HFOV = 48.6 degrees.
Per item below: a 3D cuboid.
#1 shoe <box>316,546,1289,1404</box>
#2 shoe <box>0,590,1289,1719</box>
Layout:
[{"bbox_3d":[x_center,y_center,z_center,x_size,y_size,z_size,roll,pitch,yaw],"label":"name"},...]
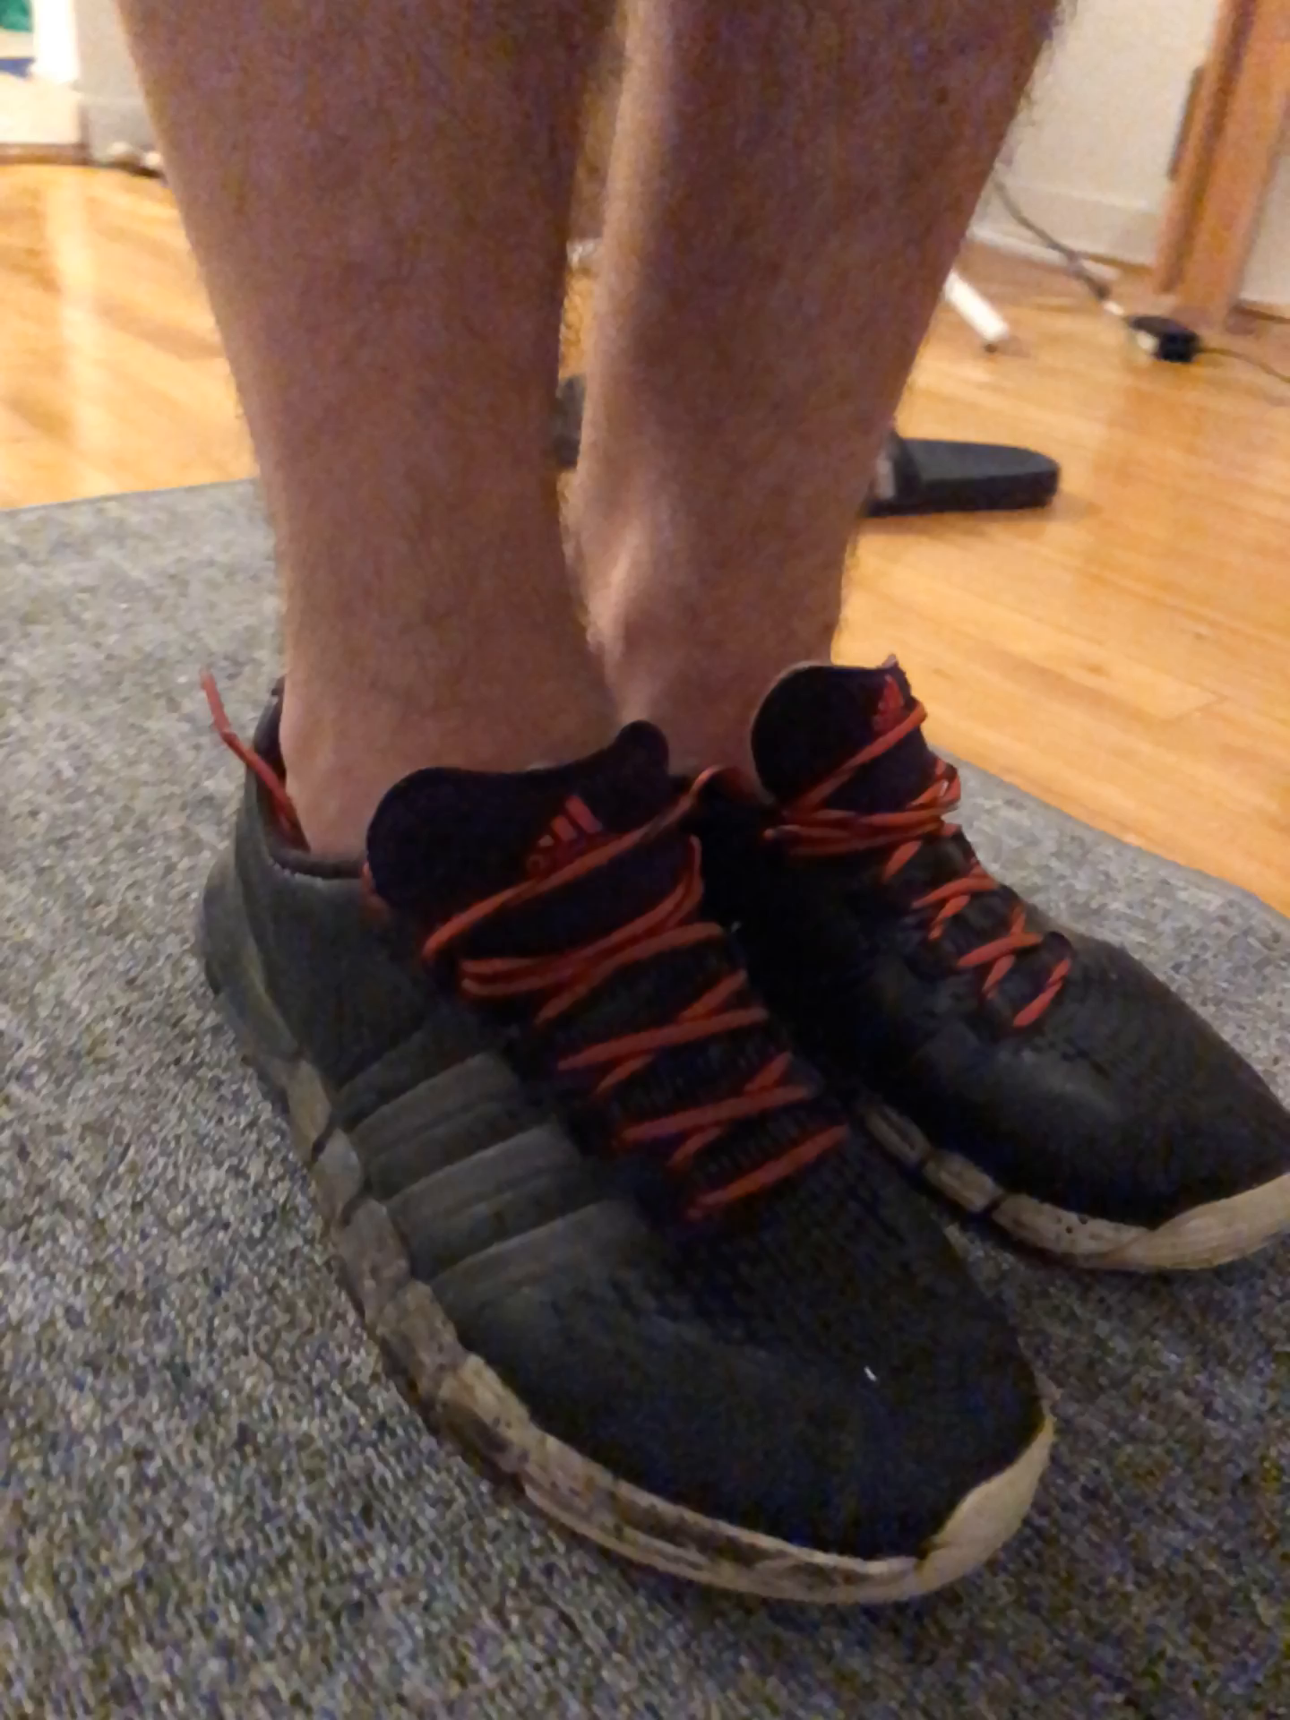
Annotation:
[{"bbox_3d":[0.058,0.004,0.436,0.321,0.089,0.131,26,36,30],"label":"shoe"},{"bbox_3d":[-0.028,0.040,0.347,0.120,0.099,0.301,-21,40,-38],"label":"shoe"}]
